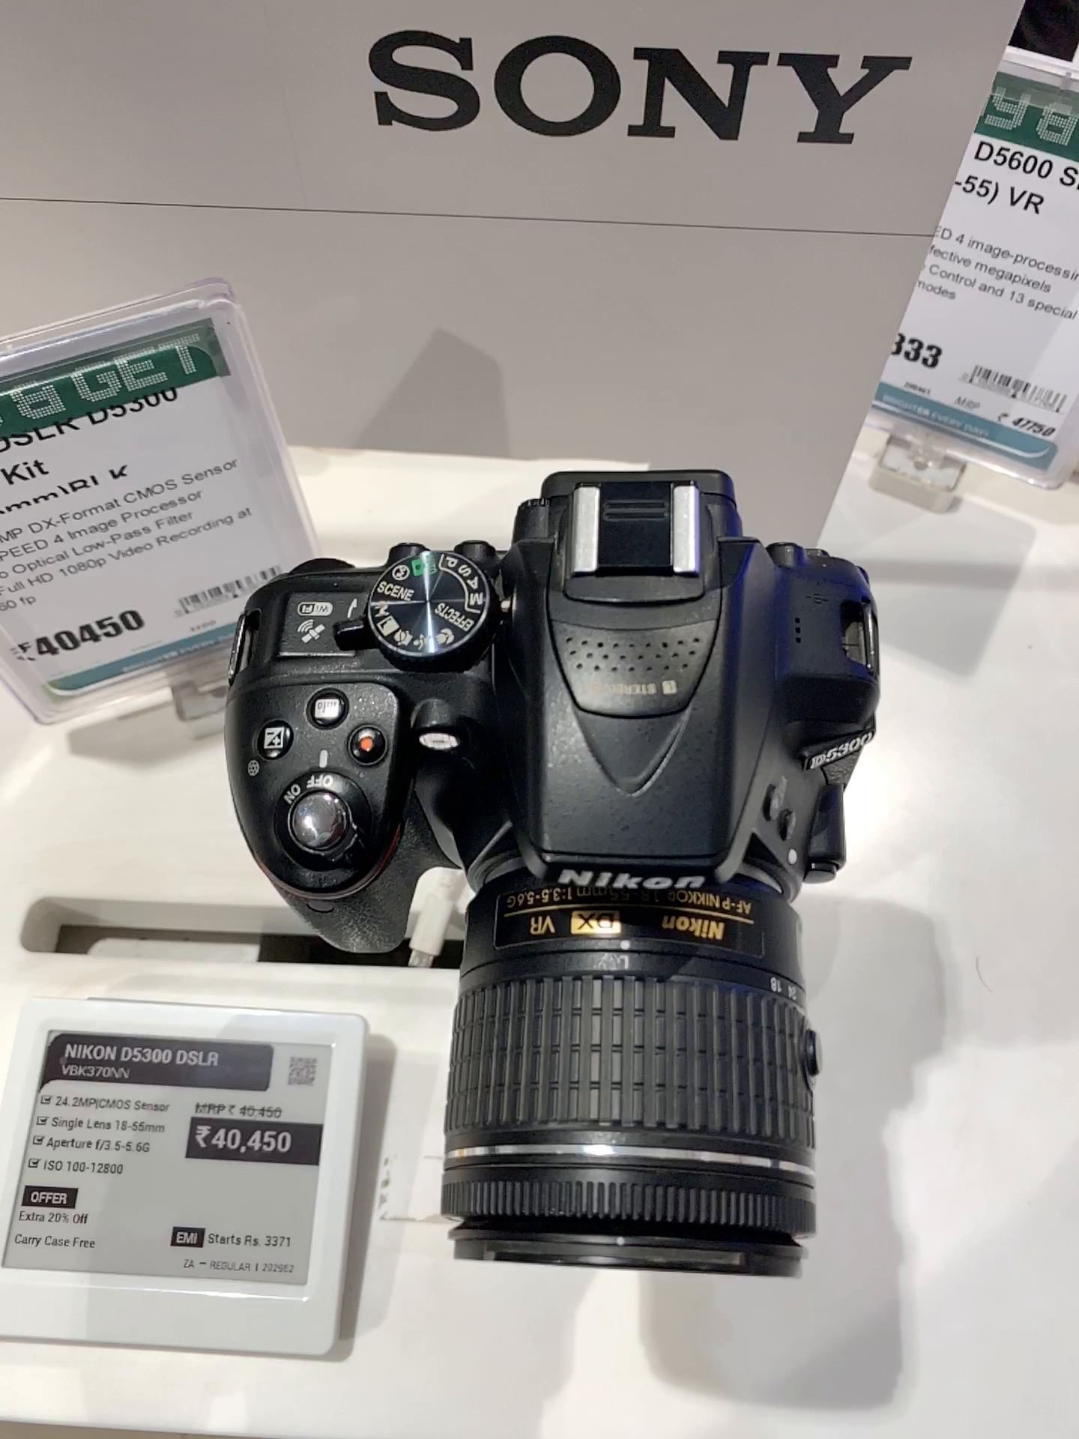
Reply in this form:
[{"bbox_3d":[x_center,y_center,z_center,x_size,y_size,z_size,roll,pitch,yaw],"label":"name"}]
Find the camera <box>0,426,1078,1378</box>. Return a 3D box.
[{"bbox_3d":[0.008,0.027,0.177,0.130,0.070,0.130,-1,61,0],"label":"camera"}]
